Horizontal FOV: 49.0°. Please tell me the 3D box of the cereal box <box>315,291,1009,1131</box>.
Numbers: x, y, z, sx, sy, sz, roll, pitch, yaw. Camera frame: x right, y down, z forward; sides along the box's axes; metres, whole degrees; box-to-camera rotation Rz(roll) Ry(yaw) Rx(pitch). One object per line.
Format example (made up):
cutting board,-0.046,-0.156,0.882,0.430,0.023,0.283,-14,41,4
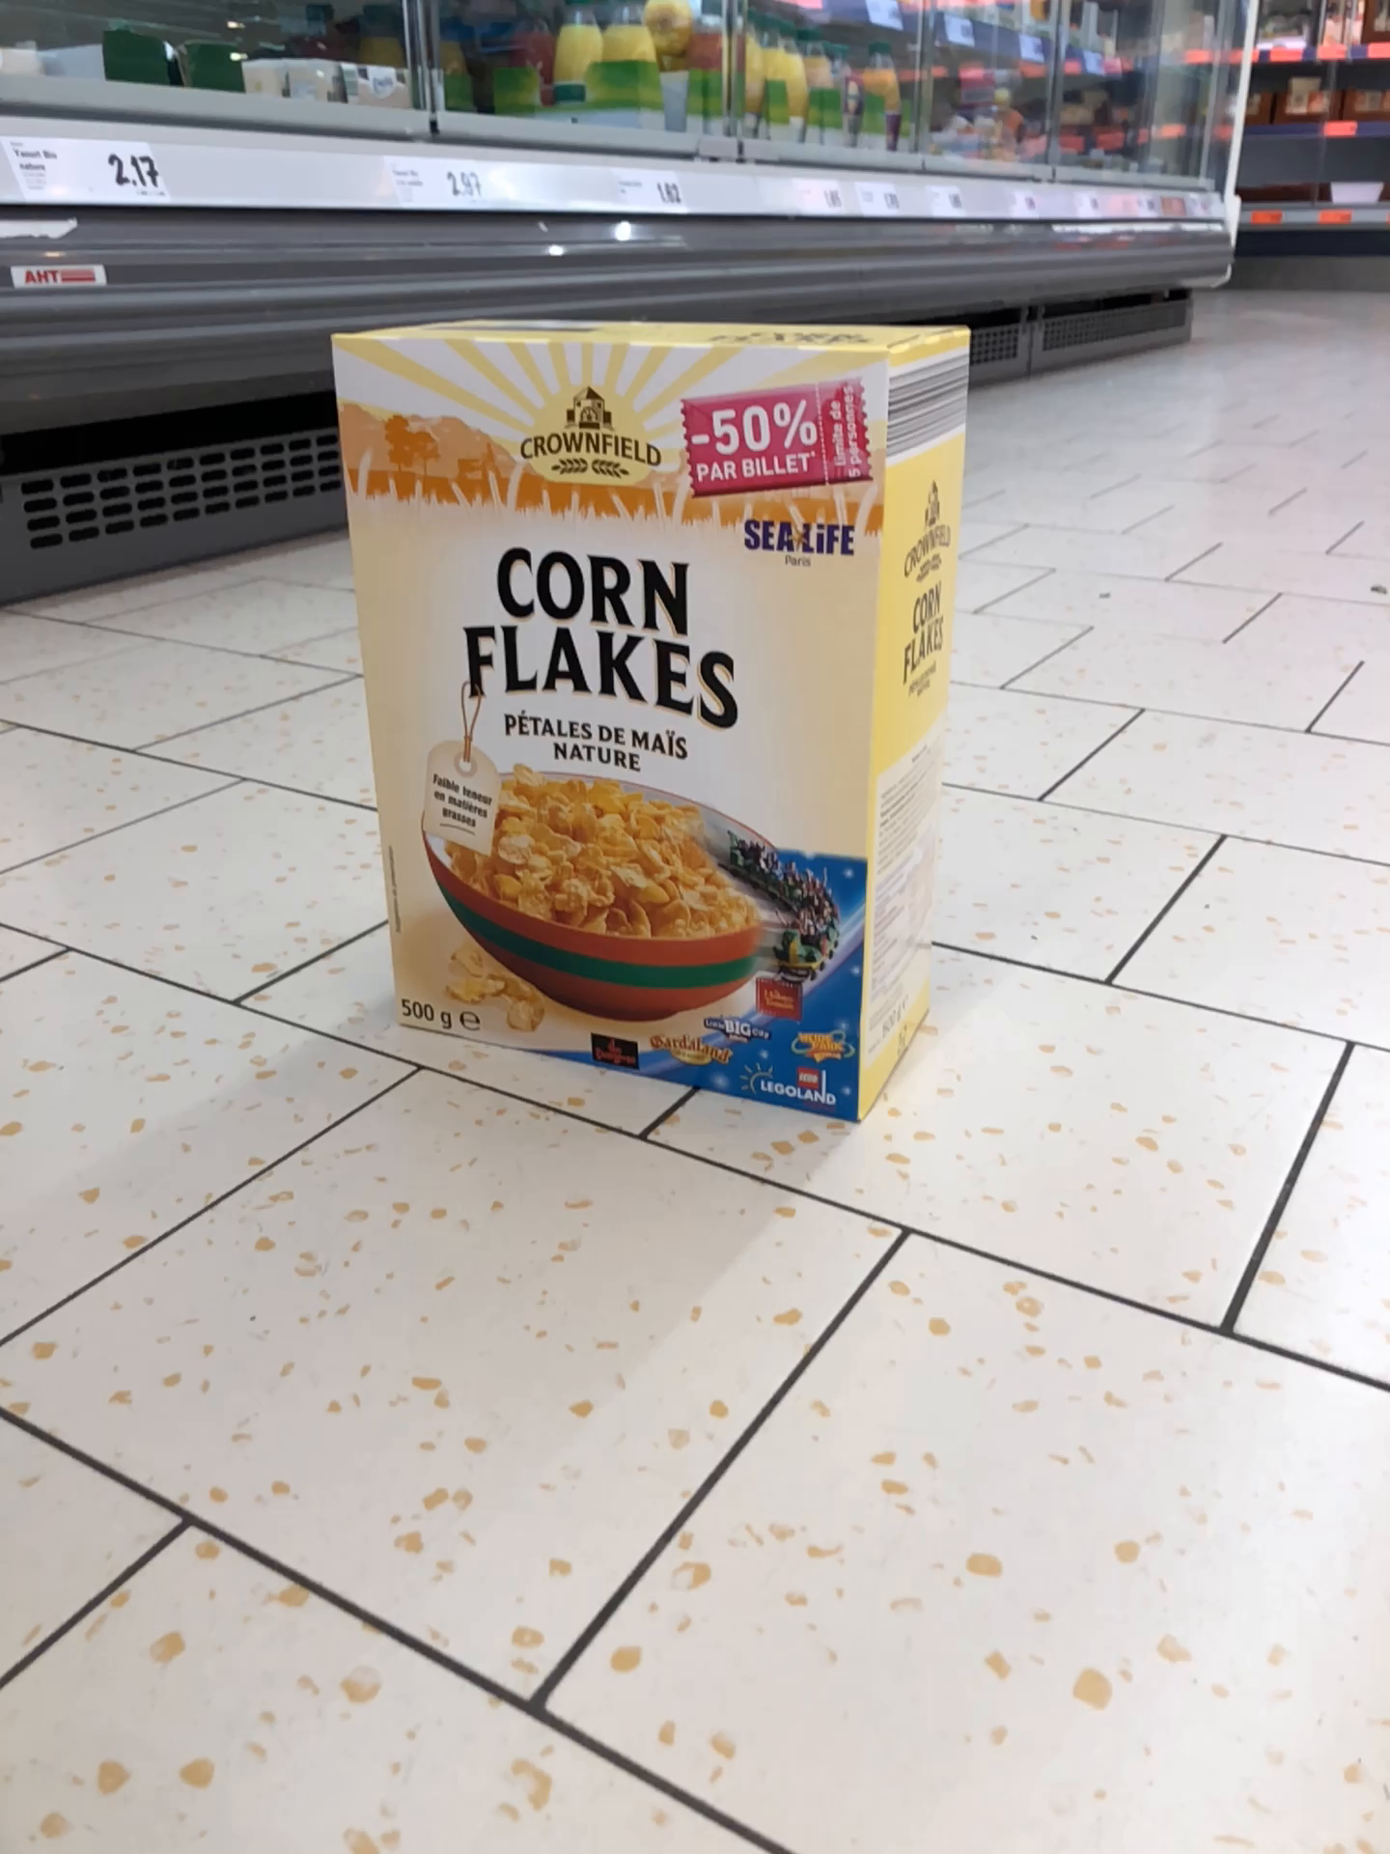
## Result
cereal box,-0.009,-0.084,0.542,0.200,0.259,0.101,9,25,21
